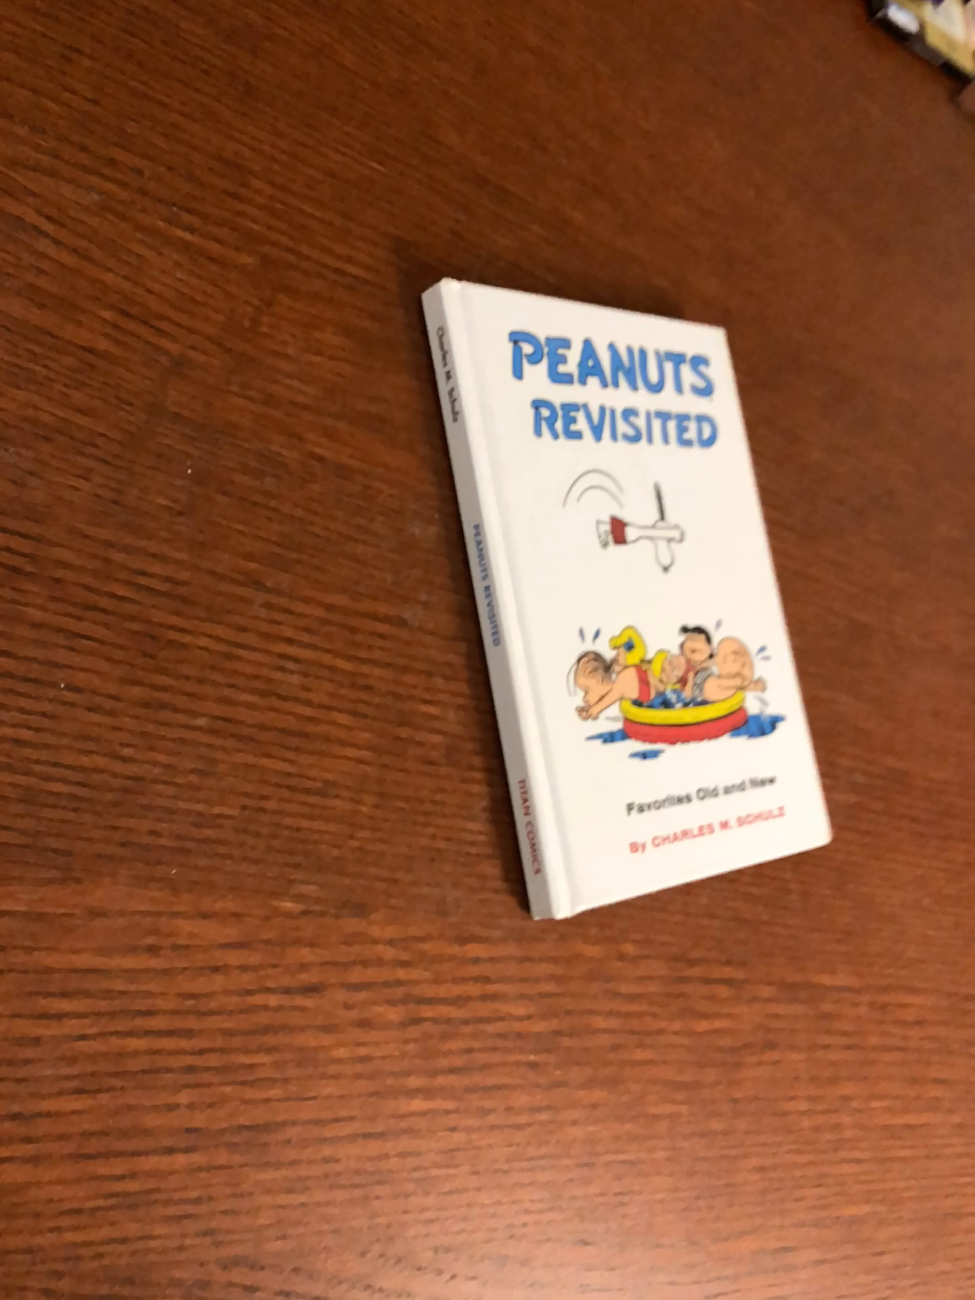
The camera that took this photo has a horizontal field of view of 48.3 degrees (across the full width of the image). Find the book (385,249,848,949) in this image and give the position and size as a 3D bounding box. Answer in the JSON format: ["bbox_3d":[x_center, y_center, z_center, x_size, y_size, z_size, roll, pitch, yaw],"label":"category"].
[{"bbox_3d":[0.050,-0.023,0.384,0.151,0.020,0.220,-4,80,-37],"label":"book"}]
